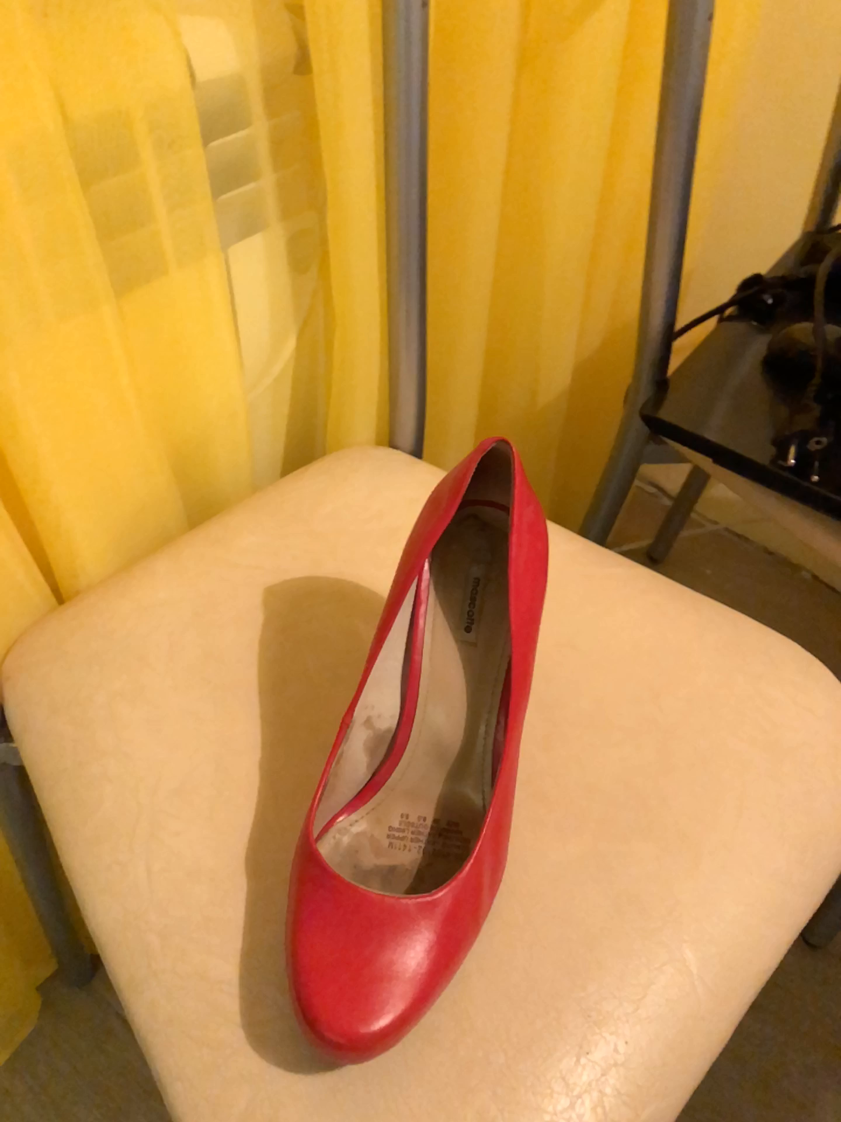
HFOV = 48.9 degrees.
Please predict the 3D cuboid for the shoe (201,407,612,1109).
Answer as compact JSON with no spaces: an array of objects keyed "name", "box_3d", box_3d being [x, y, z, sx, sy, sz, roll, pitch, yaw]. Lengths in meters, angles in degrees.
[{"name":"shoe","box_3d":[0.006,0.065,0.372,0.080,0.129,0.231,15,47,8]}]
